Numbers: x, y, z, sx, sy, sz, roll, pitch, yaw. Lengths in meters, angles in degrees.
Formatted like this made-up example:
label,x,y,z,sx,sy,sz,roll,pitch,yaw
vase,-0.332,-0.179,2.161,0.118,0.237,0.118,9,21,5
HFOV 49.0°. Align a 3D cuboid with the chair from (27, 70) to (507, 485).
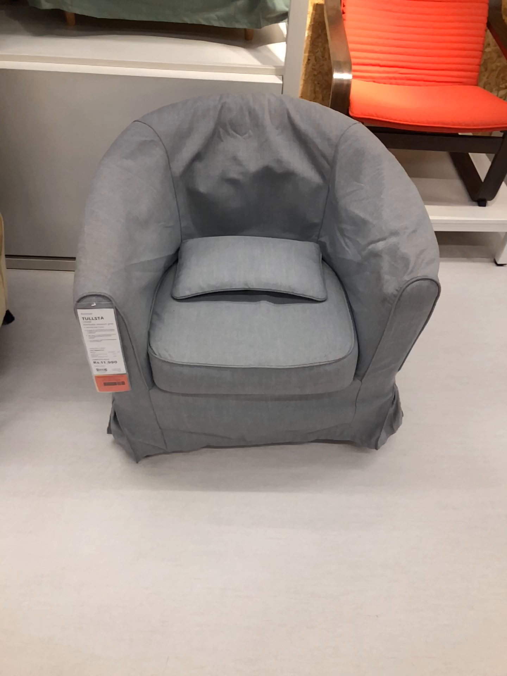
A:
label,x,y,z,sx,sy,sz,roll,pitch,yaw
chair,0.022,-0.149,1.481,0.870,0.795,0.725,-1,47,-4
